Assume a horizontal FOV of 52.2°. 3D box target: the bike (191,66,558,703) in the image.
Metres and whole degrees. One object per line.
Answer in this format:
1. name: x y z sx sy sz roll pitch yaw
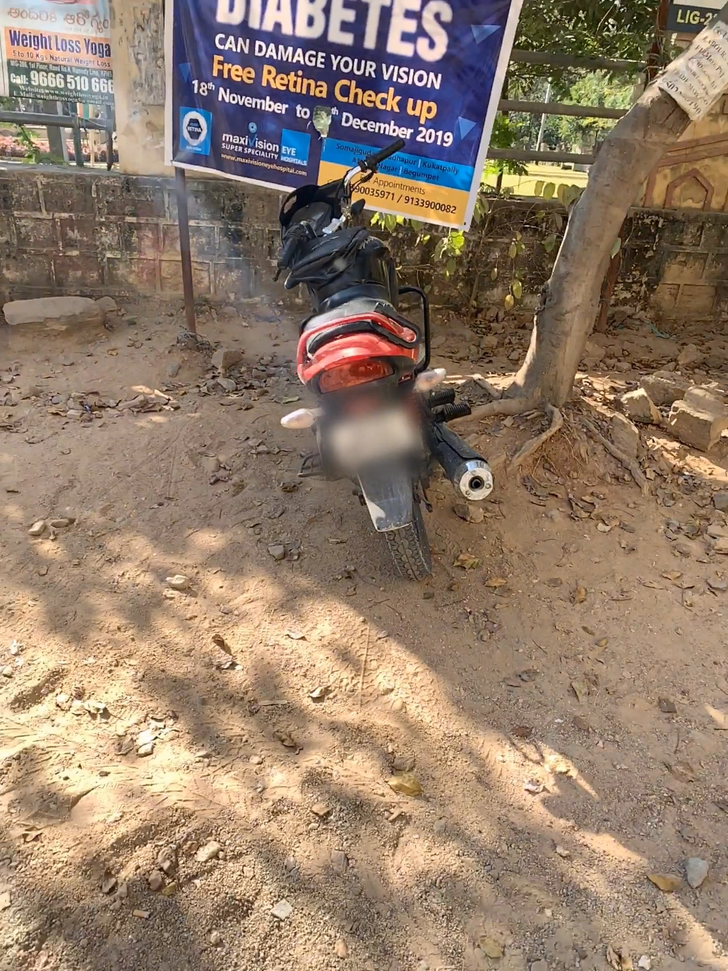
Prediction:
1. bike: -0.167 -0.486 2.478 0.752 1.442 1.623 -1 29 -11
